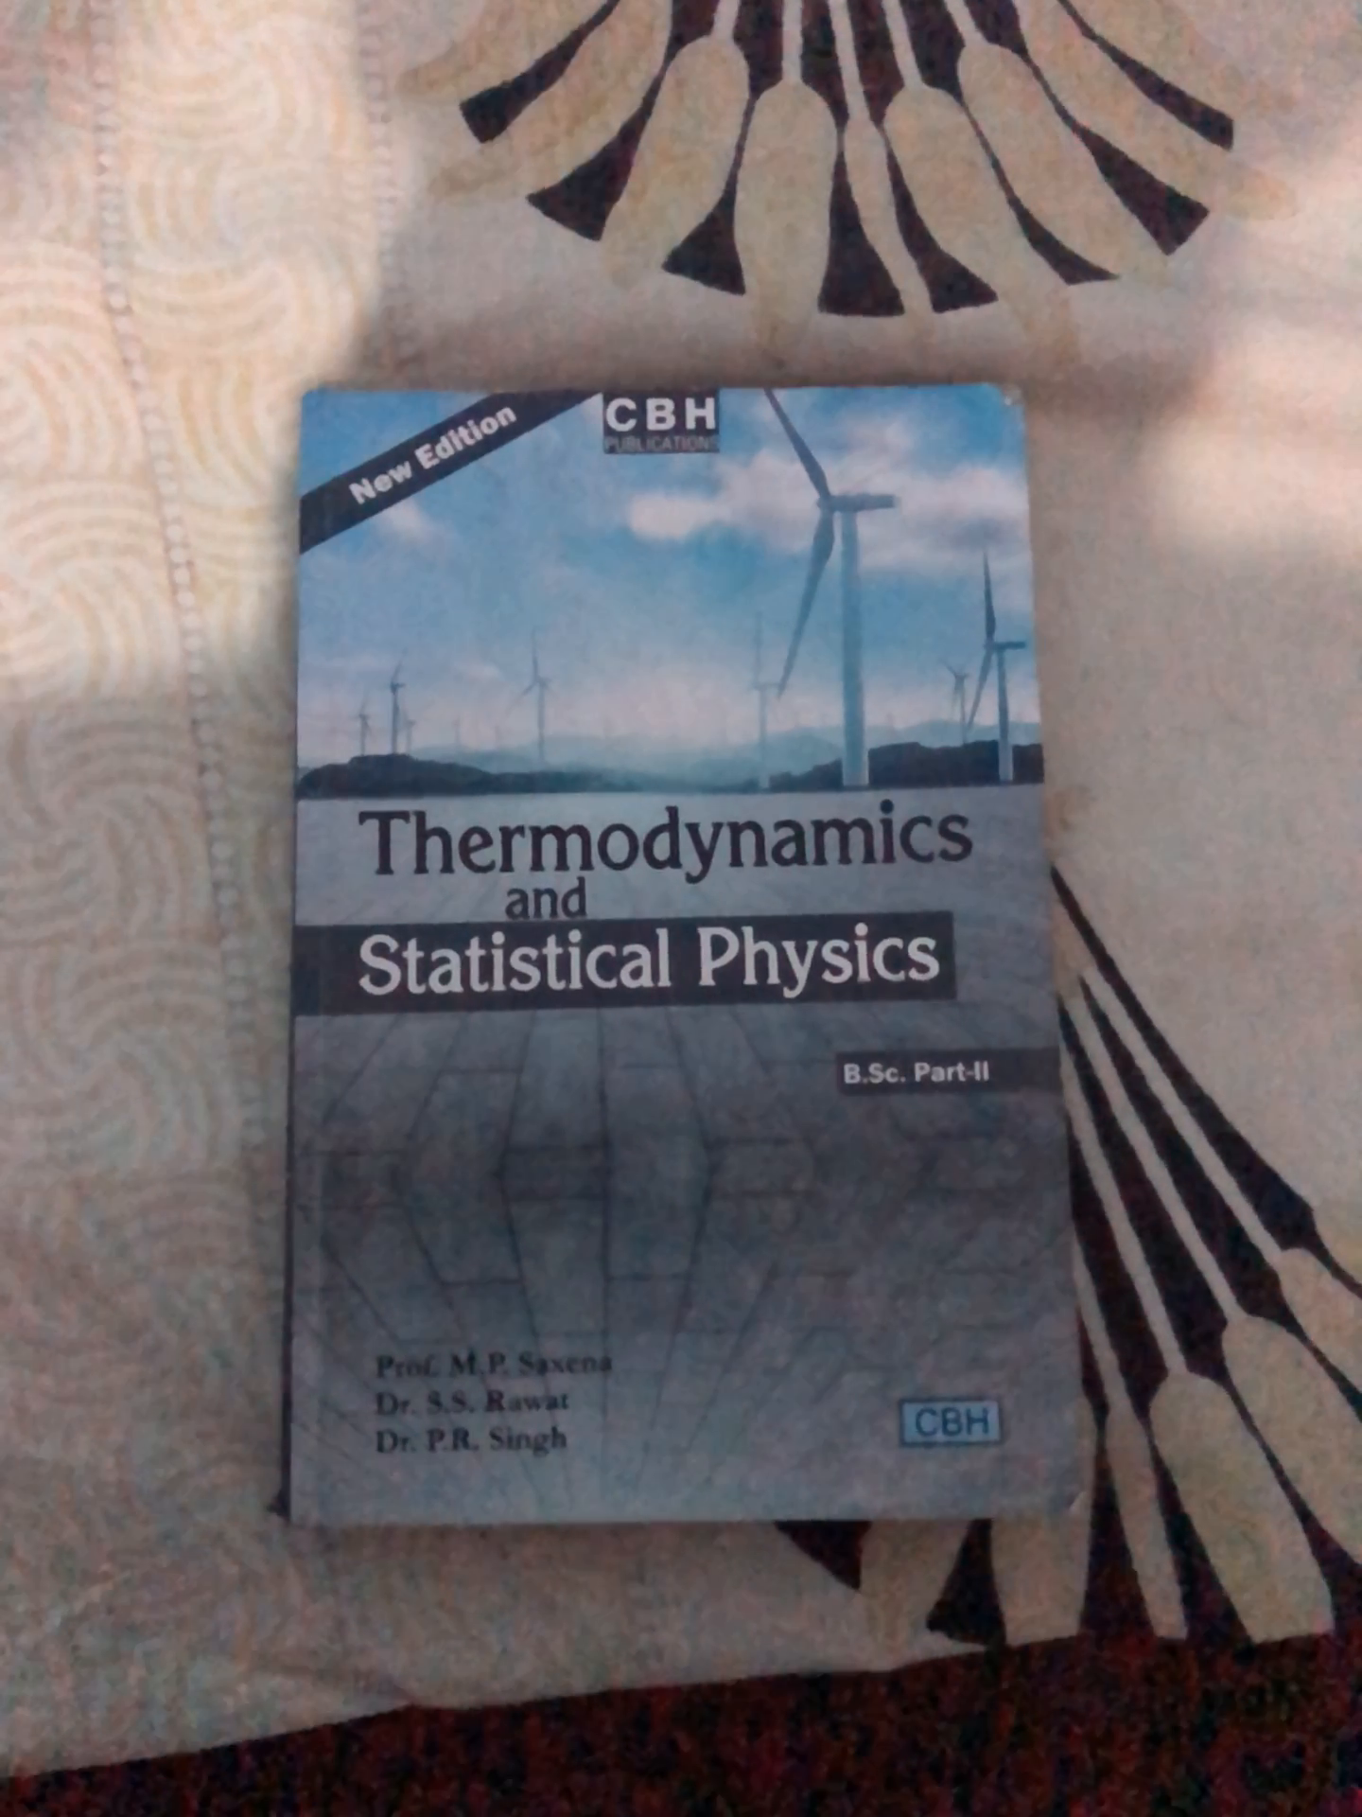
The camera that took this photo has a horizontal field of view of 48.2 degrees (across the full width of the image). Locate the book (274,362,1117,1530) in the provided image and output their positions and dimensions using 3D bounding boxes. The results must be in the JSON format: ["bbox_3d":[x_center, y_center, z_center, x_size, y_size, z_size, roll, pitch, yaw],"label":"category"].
[{"bbox_3d":[0.001,0.006,0.333,0.170,0.030,0.240,-1,86,0],"label":"book"}]
